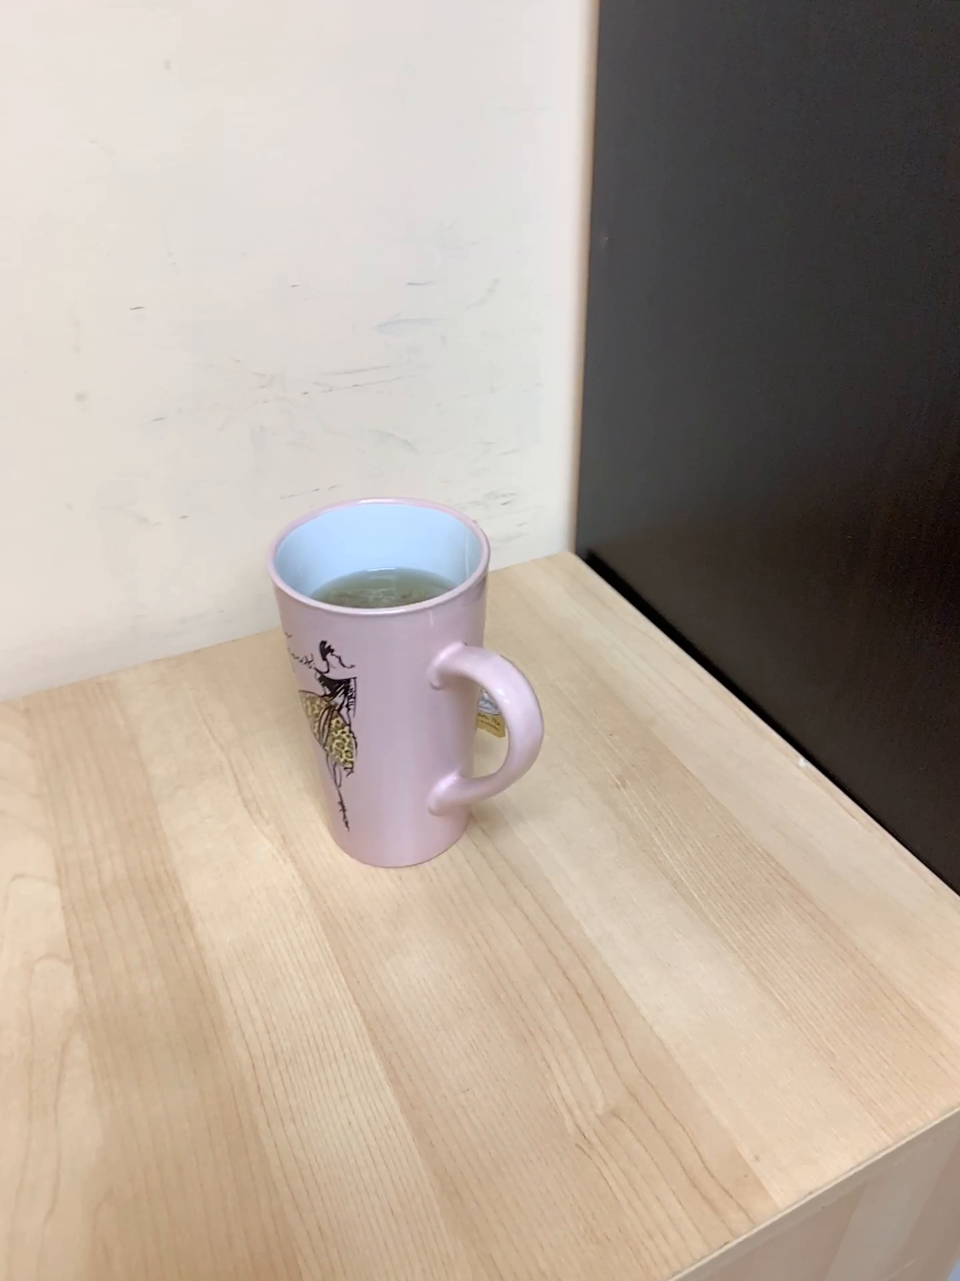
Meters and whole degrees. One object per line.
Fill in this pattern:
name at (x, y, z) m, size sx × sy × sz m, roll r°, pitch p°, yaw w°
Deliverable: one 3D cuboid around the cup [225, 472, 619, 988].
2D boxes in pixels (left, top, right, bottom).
cup at (-0.025, 0.032, 0.422) m, size 0.092 × 0.151 × 0.134 m, roll -25°, pitch 41°, yaw -30°
